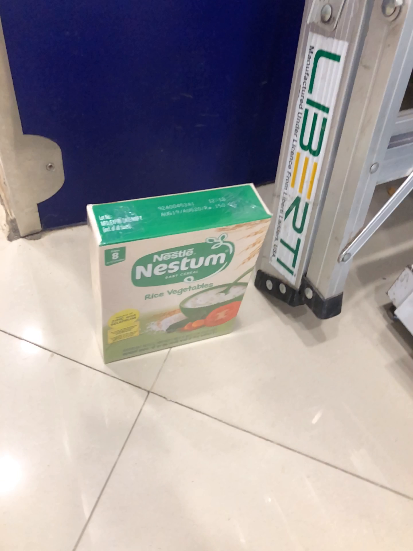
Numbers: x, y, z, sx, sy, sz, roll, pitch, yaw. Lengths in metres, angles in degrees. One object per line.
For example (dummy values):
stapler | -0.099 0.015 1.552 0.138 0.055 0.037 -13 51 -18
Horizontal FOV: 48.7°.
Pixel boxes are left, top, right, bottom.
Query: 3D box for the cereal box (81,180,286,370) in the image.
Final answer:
cereal box | -0.030 0.007 0.445 0.160 0.189 0.050 -12 55 -19
